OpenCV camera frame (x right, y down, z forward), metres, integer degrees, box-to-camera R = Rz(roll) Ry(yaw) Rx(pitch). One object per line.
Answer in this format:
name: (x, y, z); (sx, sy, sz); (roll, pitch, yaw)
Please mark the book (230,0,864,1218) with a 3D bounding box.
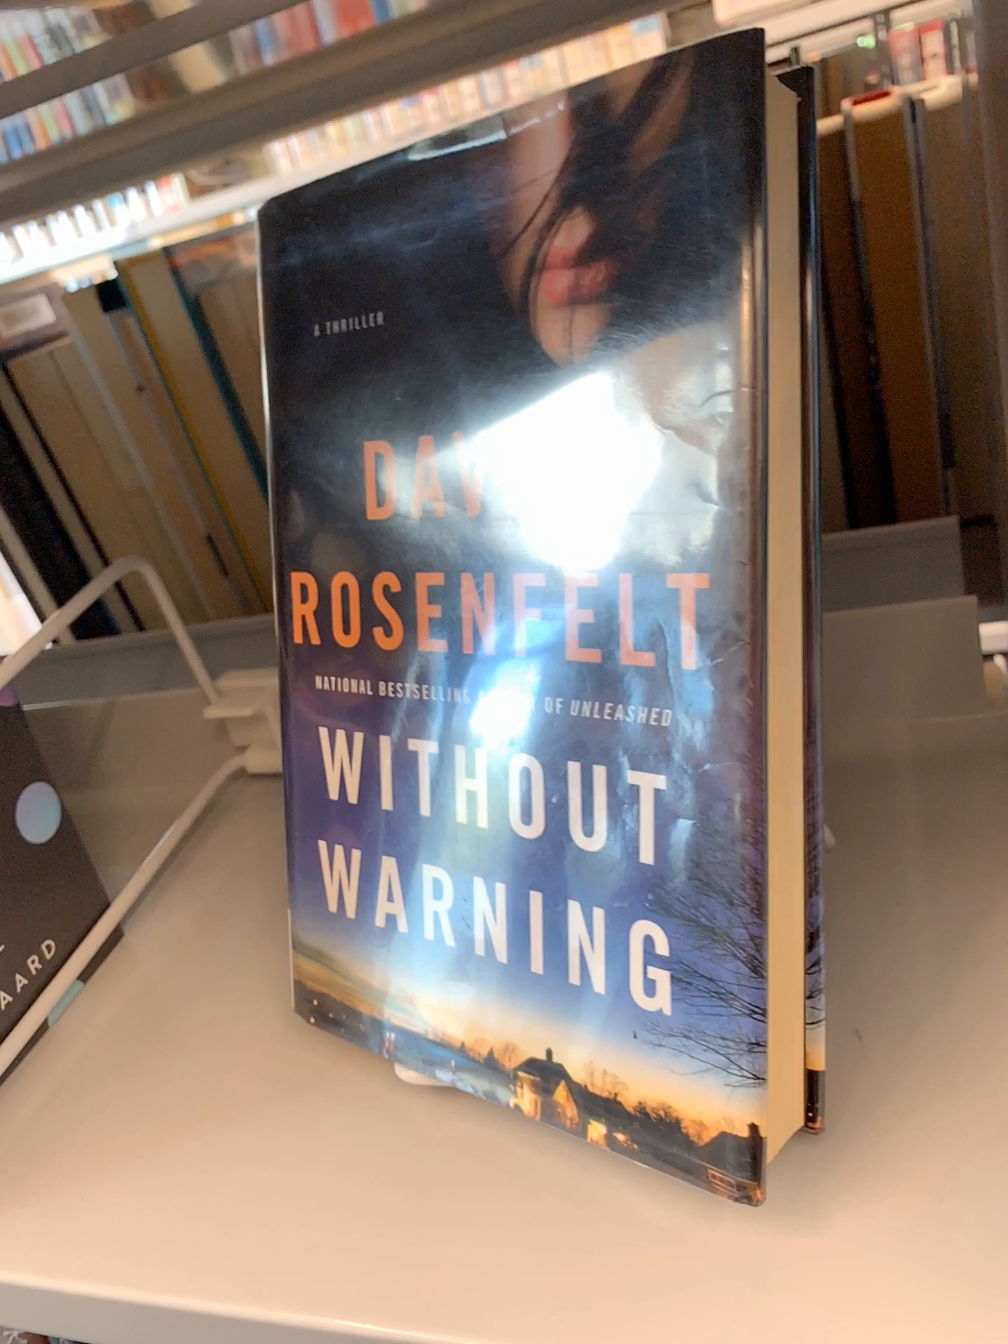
book: (0.003, -0.011, 0.260); (0.158, 0.230, 0.035); (5, 11, 39)
